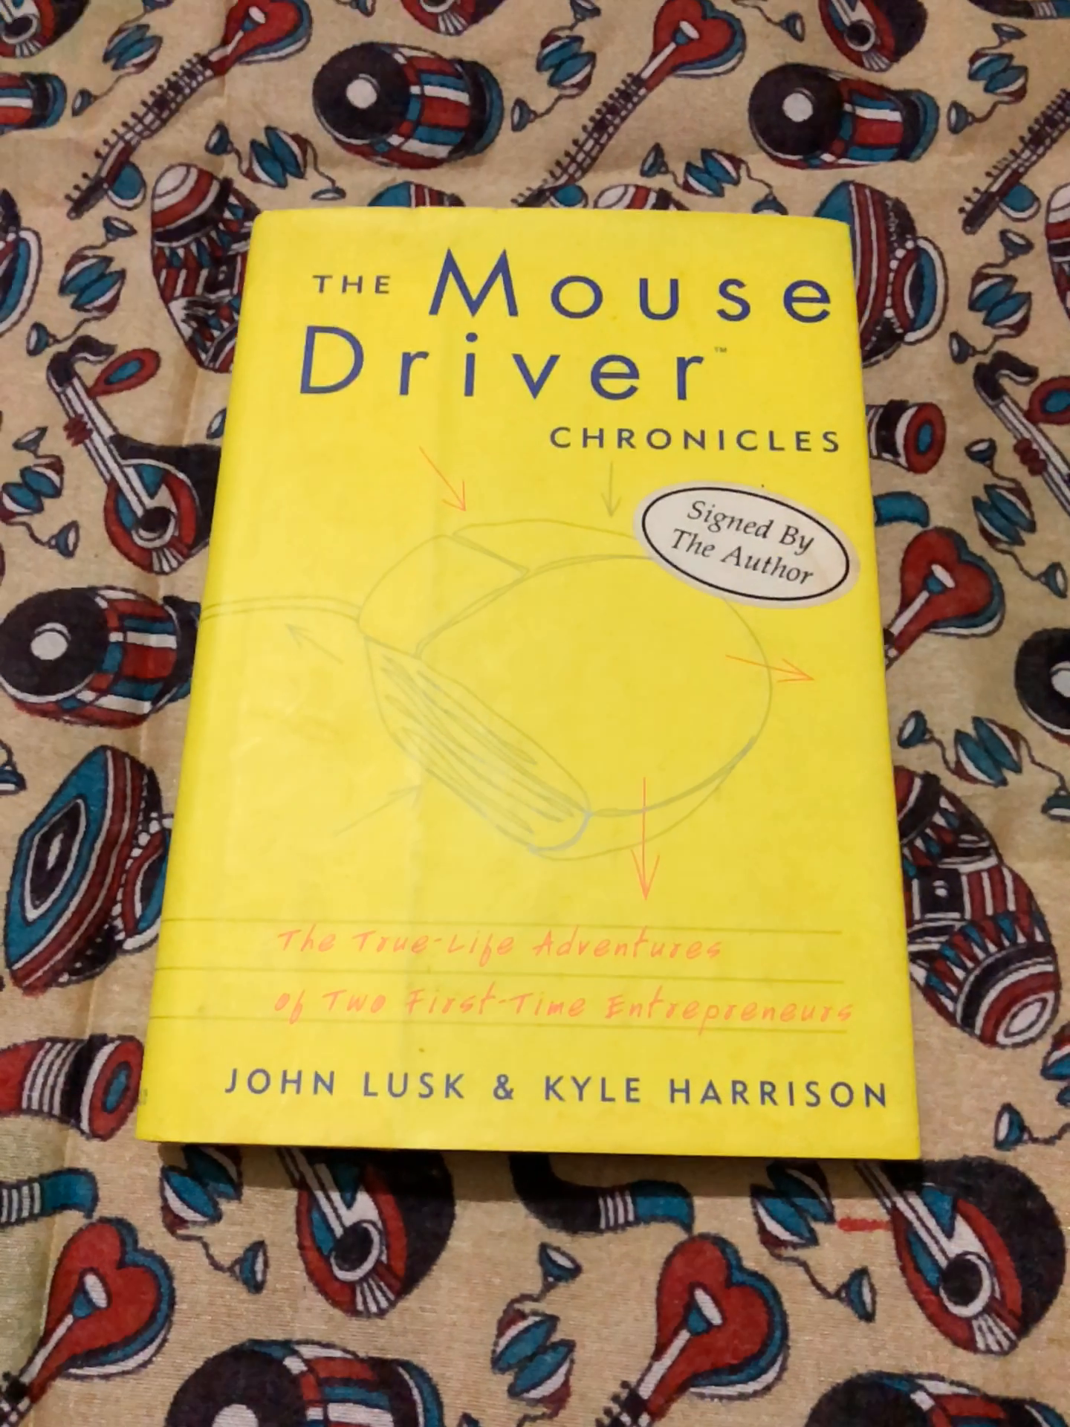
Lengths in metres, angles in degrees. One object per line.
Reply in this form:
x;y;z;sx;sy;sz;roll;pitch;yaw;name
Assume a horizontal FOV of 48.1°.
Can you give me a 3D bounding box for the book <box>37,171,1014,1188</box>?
0.000;-0.018;0.258;0.160;0.040;0.220;1;67;0;book
